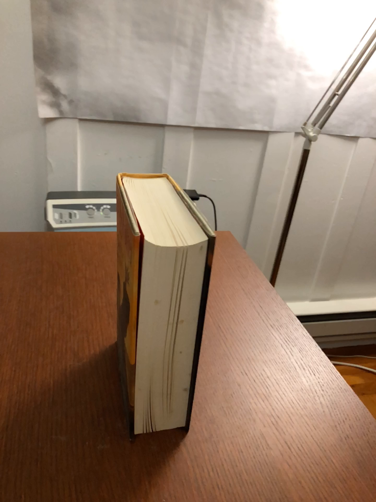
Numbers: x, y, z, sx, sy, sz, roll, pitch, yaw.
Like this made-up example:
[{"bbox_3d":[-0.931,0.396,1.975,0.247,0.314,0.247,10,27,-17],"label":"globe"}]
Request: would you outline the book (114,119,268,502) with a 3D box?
[{"bbox_3d":[-0.025,0.048,0.407,0.070,0.298,0.211,-2,28,-15],"label":"book"}]
